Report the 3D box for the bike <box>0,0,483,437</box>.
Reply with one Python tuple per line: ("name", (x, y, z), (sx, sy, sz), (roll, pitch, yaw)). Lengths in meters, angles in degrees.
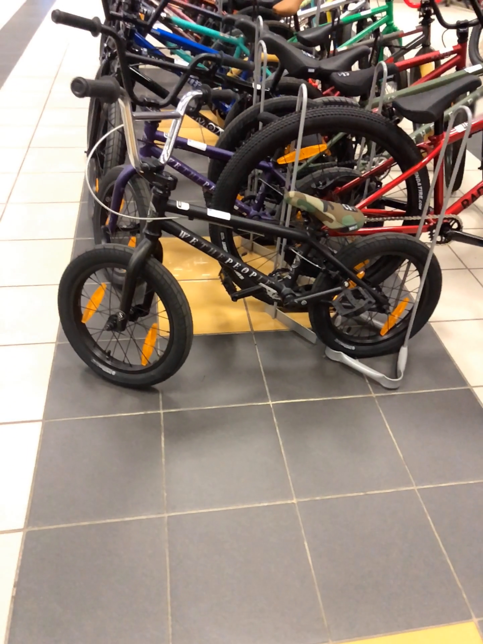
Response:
("bike", (0.066, -0.245, 1.327), (1.071, 0.810, 0.680), (1, 38, -7))
